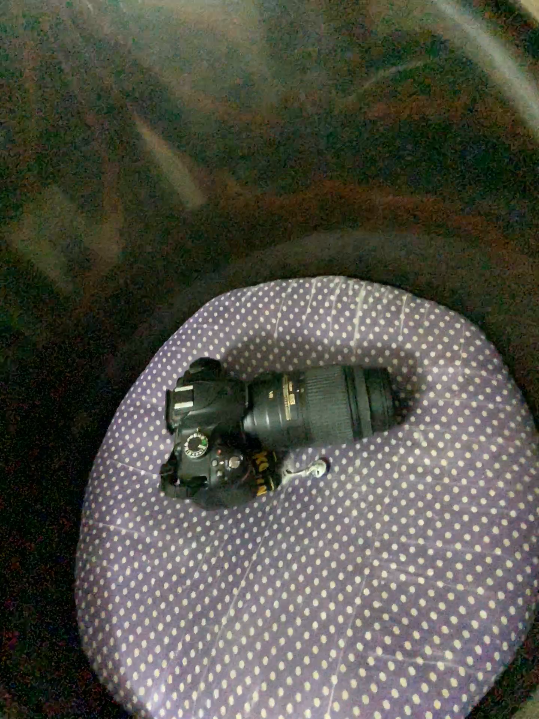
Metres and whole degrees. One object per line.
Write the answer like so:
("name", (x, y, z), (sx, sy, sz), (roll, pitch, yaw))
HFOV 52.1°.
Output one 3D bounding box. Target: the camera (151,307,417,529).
("camera", (0.013, 0.055, 0.487), (0.200, 0.100, 0.140), (-9, 57, 8))
